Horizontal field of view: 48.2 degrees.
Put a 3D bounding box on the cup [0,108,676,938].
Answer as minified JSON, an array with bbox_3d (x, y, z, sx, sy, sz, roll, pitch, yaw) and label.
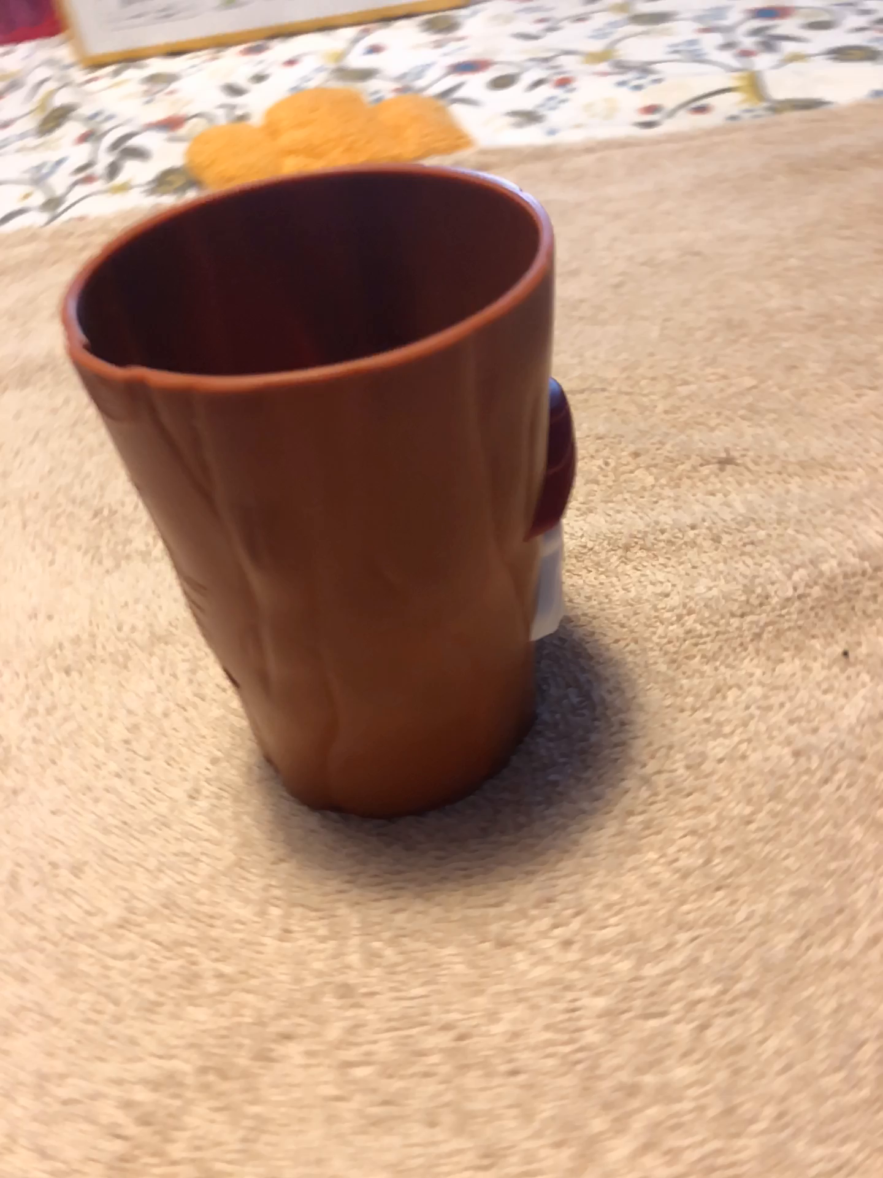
[{"bbox_3d":[-0.018,-0.015,0.192,0.090,0.109,0.080,-30,47,-21],"label":"cup"}]
